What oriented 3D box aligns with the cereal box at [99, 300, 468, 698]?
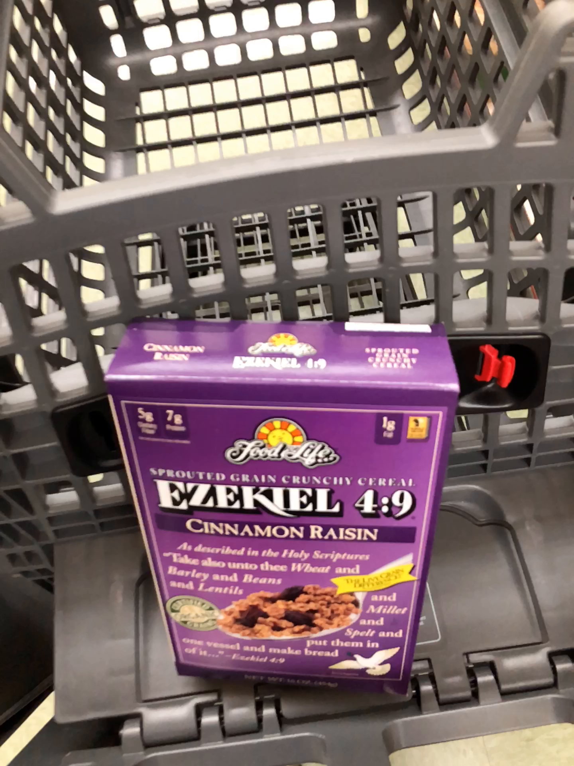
[{"bbox_3d":[0.001,0.080,0.356,0.150,0.250,0.060,2,37,4],"label":"cereal box"}]
